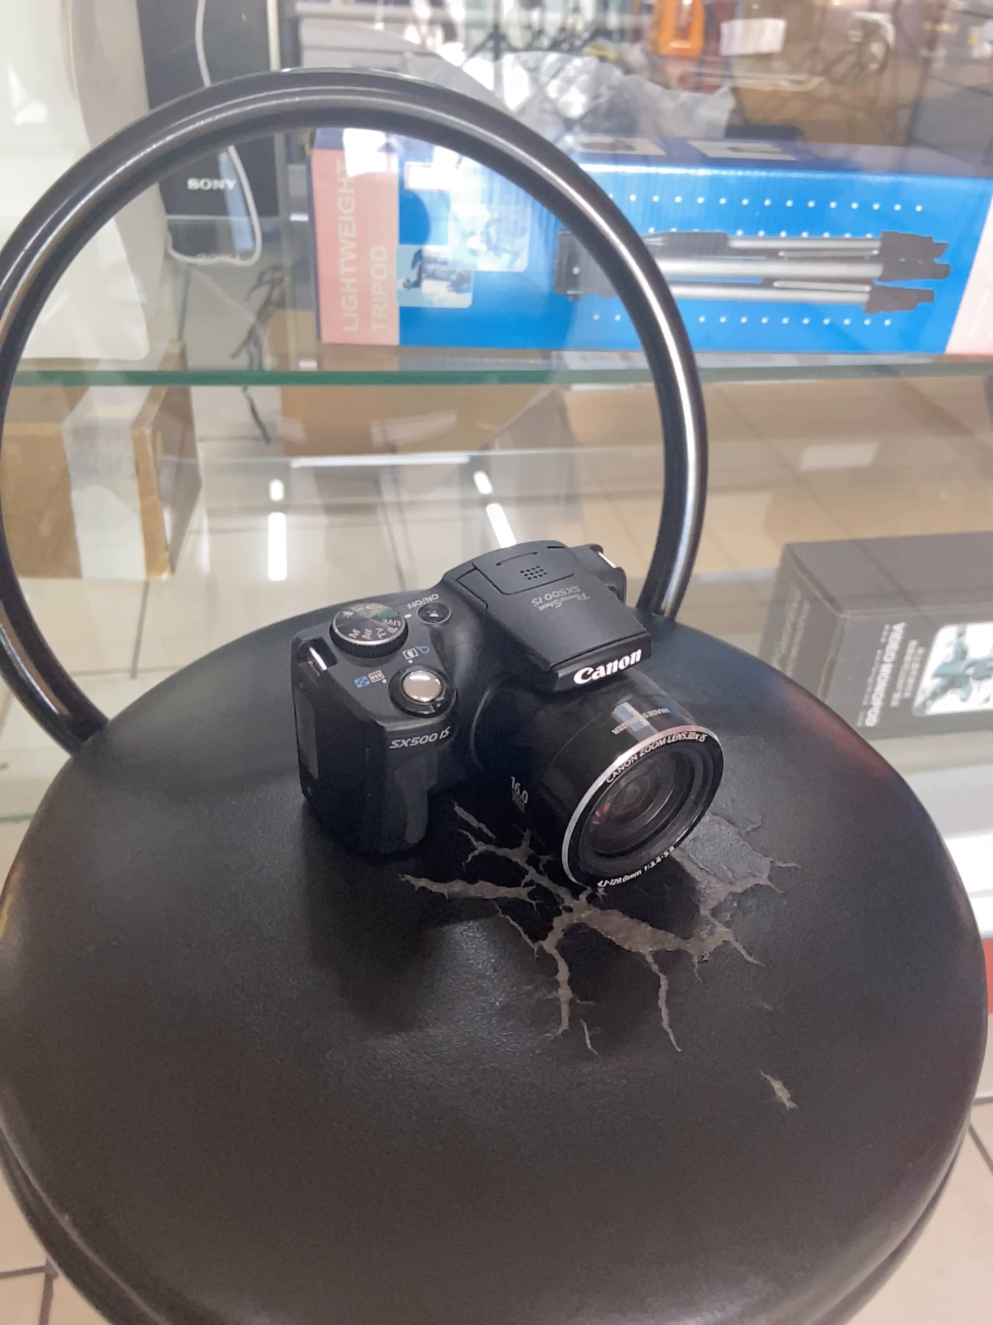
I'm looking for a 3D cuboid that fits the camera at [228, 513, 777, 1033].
[{"bbox_3d":[0.000,0.022,0.285,0.110,0.070,0.090,-21,41,-29],"label":"camera"}]
